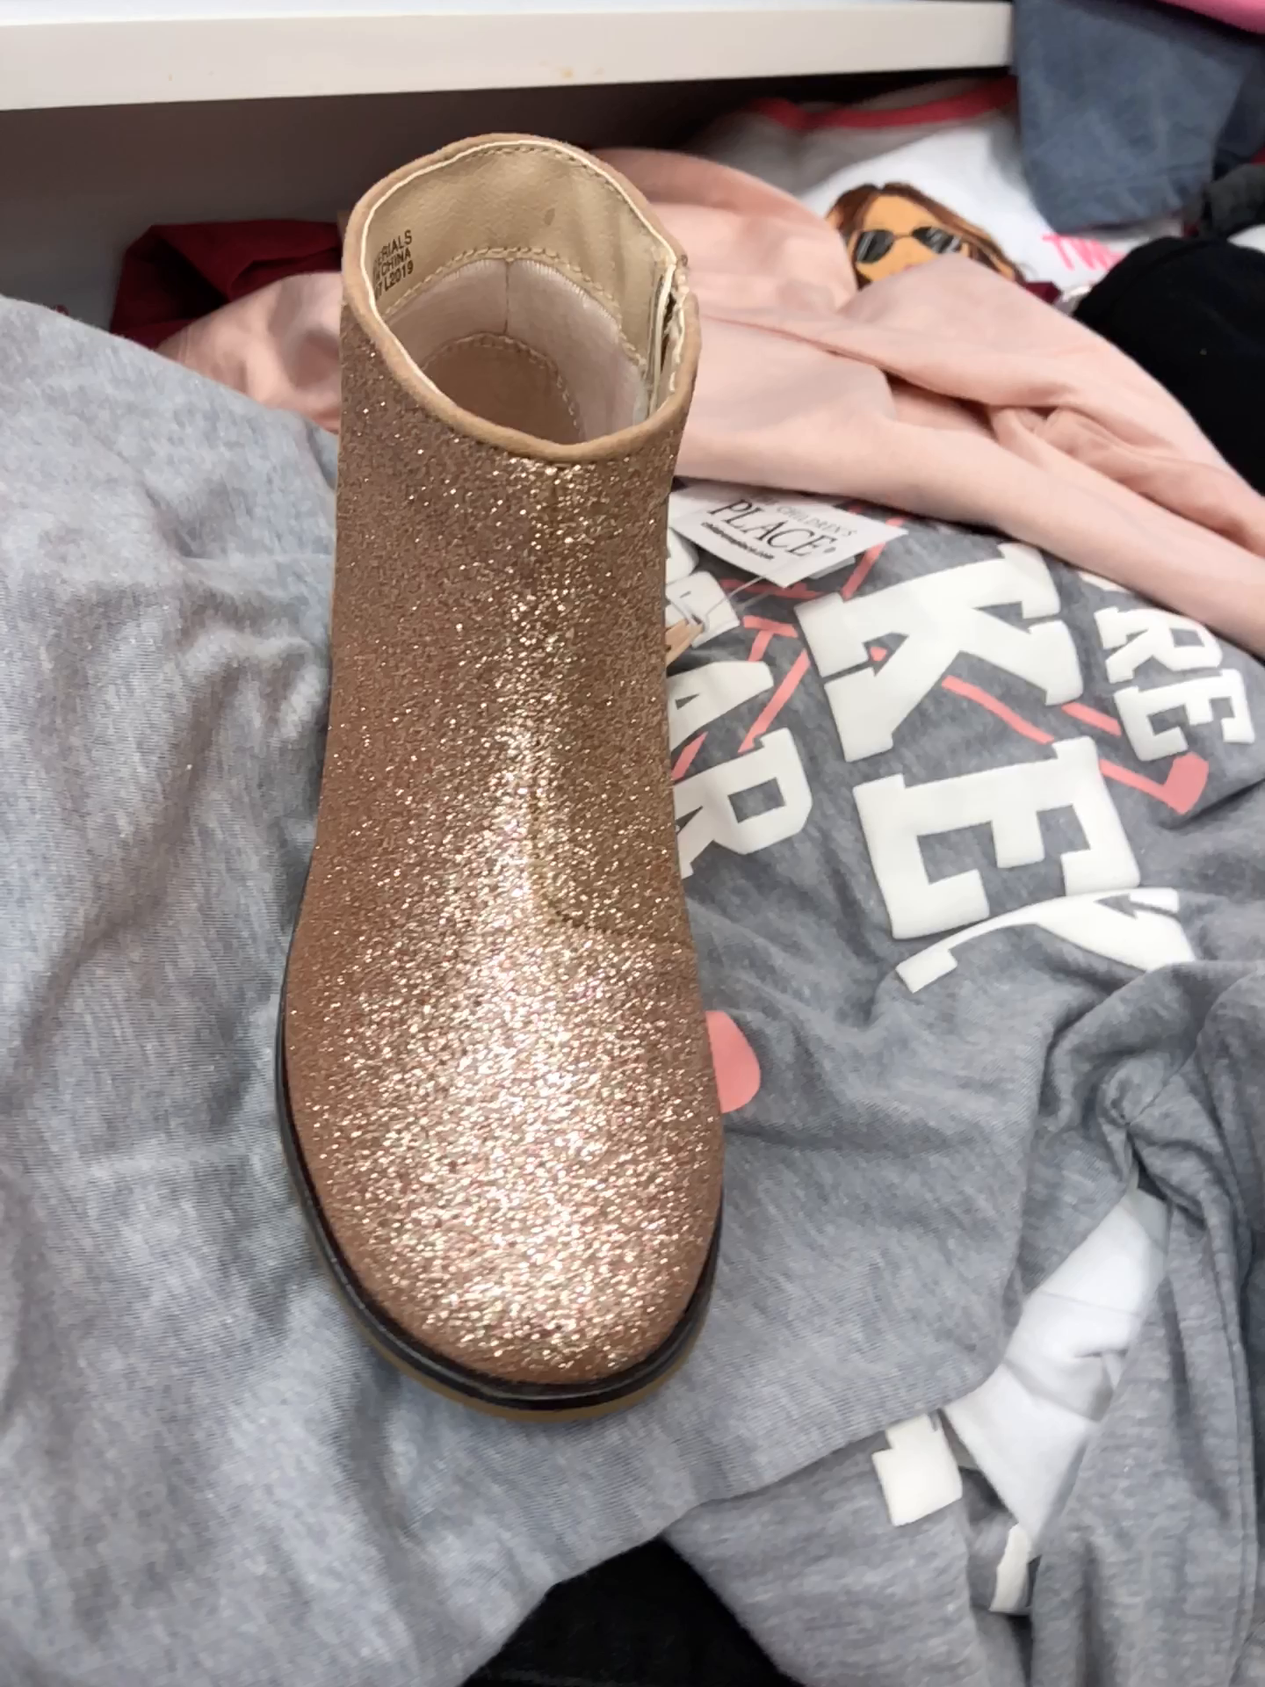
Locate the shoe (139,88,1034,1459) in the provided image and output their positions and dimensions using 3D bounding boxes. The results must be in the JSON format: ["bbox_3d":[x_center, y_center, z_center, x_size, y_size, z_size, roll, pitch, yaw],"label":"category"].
[{"bbox_3d":[-0.023,-0.037,0.262,0.083,0.129,0.238,0,40,-9],"label":"shoe"}]
